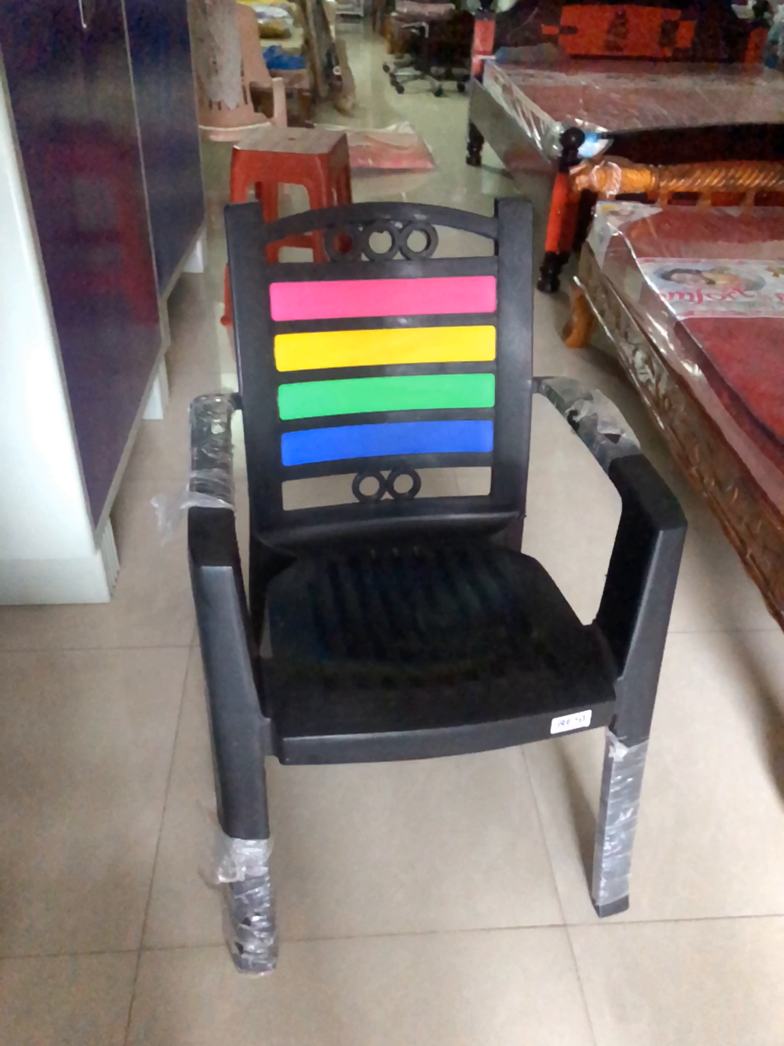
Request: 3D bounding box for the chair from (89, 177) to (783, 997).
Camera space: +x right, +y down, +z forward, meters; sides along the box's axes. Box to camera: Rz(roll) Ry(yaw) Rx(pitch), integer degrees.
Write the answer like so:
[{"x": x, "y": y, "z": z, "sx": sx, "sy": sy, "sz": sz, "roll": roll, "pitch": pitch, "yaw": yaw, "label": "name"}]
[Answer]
[{"x": 0.017, "y": 0.087, "z": 1.250, "sx": 0.640, "sy": 0.975, "sz": 0.613, "roll": -4, "pitch": 36, "yaw": -8, "label": "chair"}]
